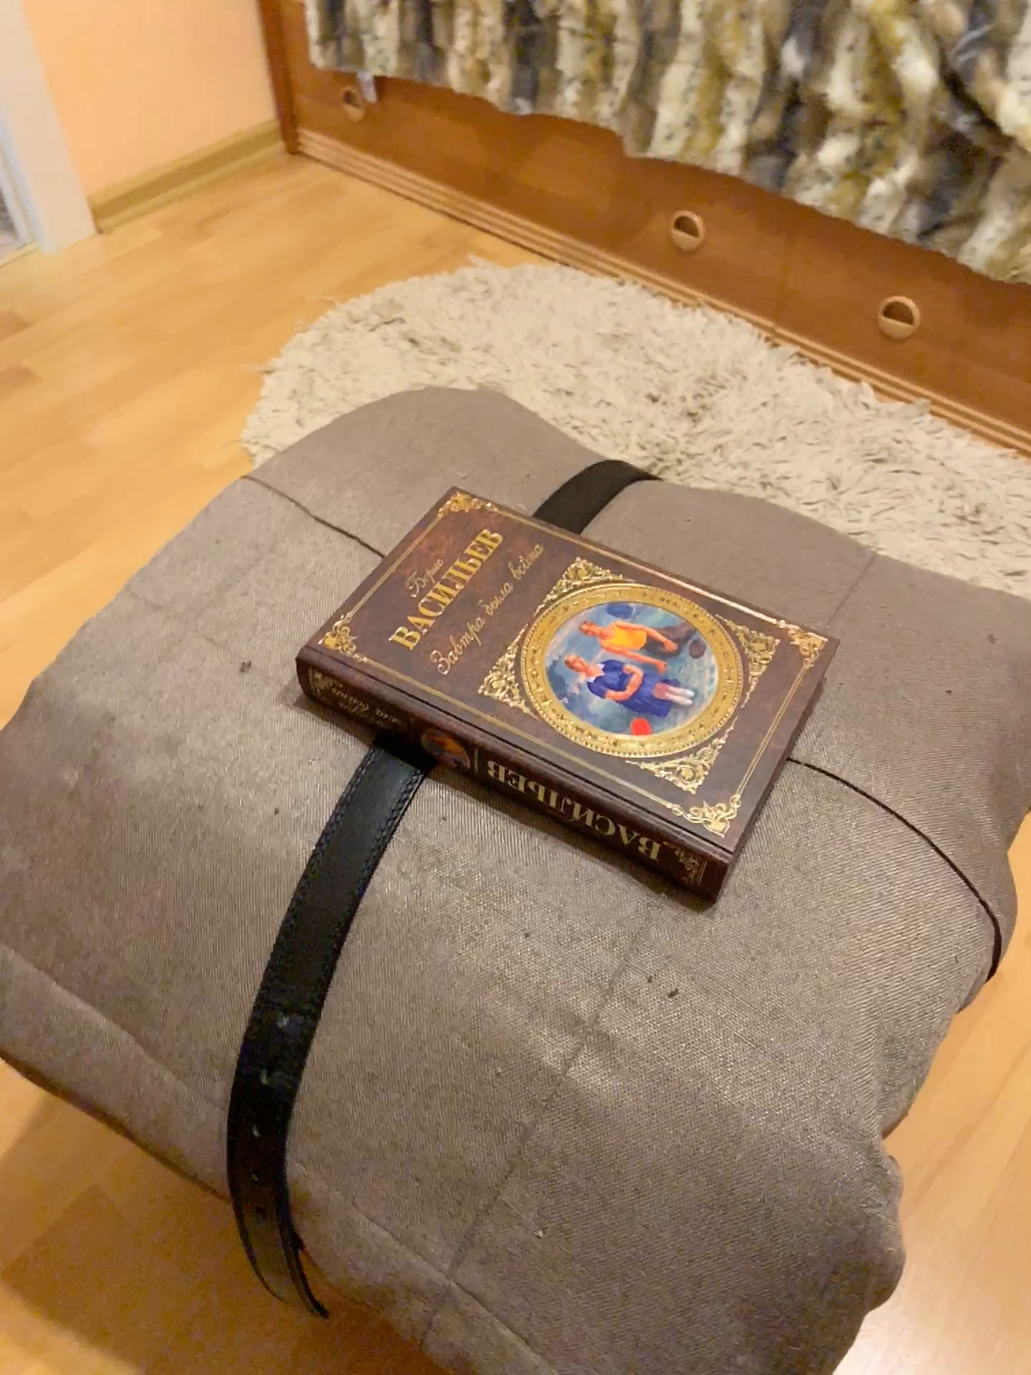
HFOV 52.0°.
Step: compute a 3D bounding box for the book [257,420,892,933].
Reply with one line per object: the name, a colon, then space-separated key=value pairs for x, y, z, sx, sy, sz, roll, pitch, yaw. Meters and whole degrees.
book: x=0.026 y=-0.016 z=0.450 sx=0.220 sy=0.050 sz=0.141 roll=26 pitch=55 yaw=14
